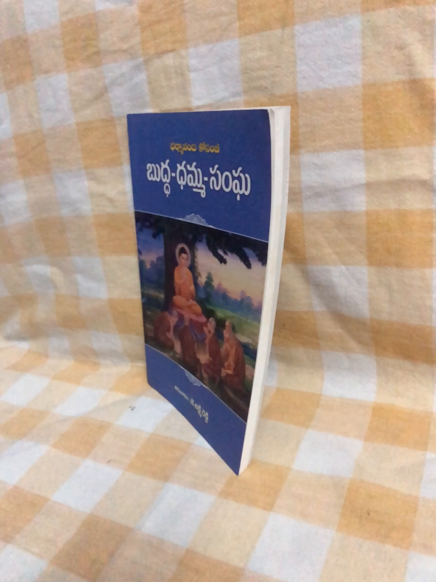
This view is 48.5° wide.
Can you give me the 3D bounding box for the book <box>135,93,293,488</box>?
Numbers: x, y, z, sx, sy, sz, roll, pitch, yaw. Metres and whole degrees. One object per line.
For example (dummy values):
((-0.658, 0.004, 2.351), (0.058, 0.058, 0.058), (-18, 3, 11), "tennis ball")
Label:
((-0.017, -0.009, 0.325), (0.020, 0.219, 0.150), (-6, 18, -31), "book")
